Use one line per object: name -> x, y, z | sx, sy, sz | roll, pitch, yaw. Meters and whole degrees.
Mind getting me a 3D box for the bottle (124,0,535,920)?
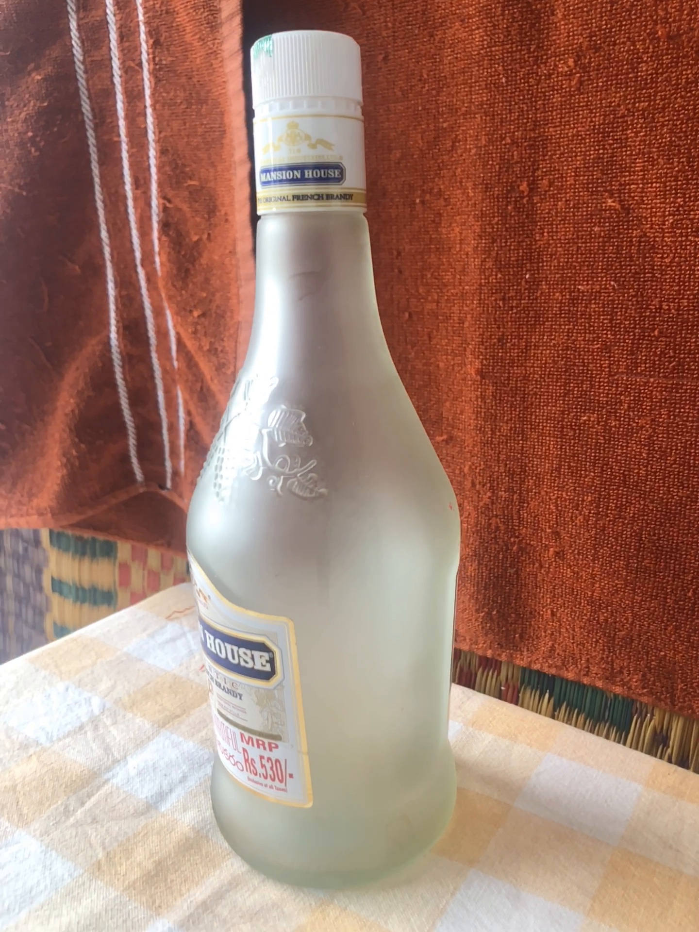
bottle -> -0.011, -0.002, 0.248 | 0.090, 0.249, 0.090 | -1, 17, 0
